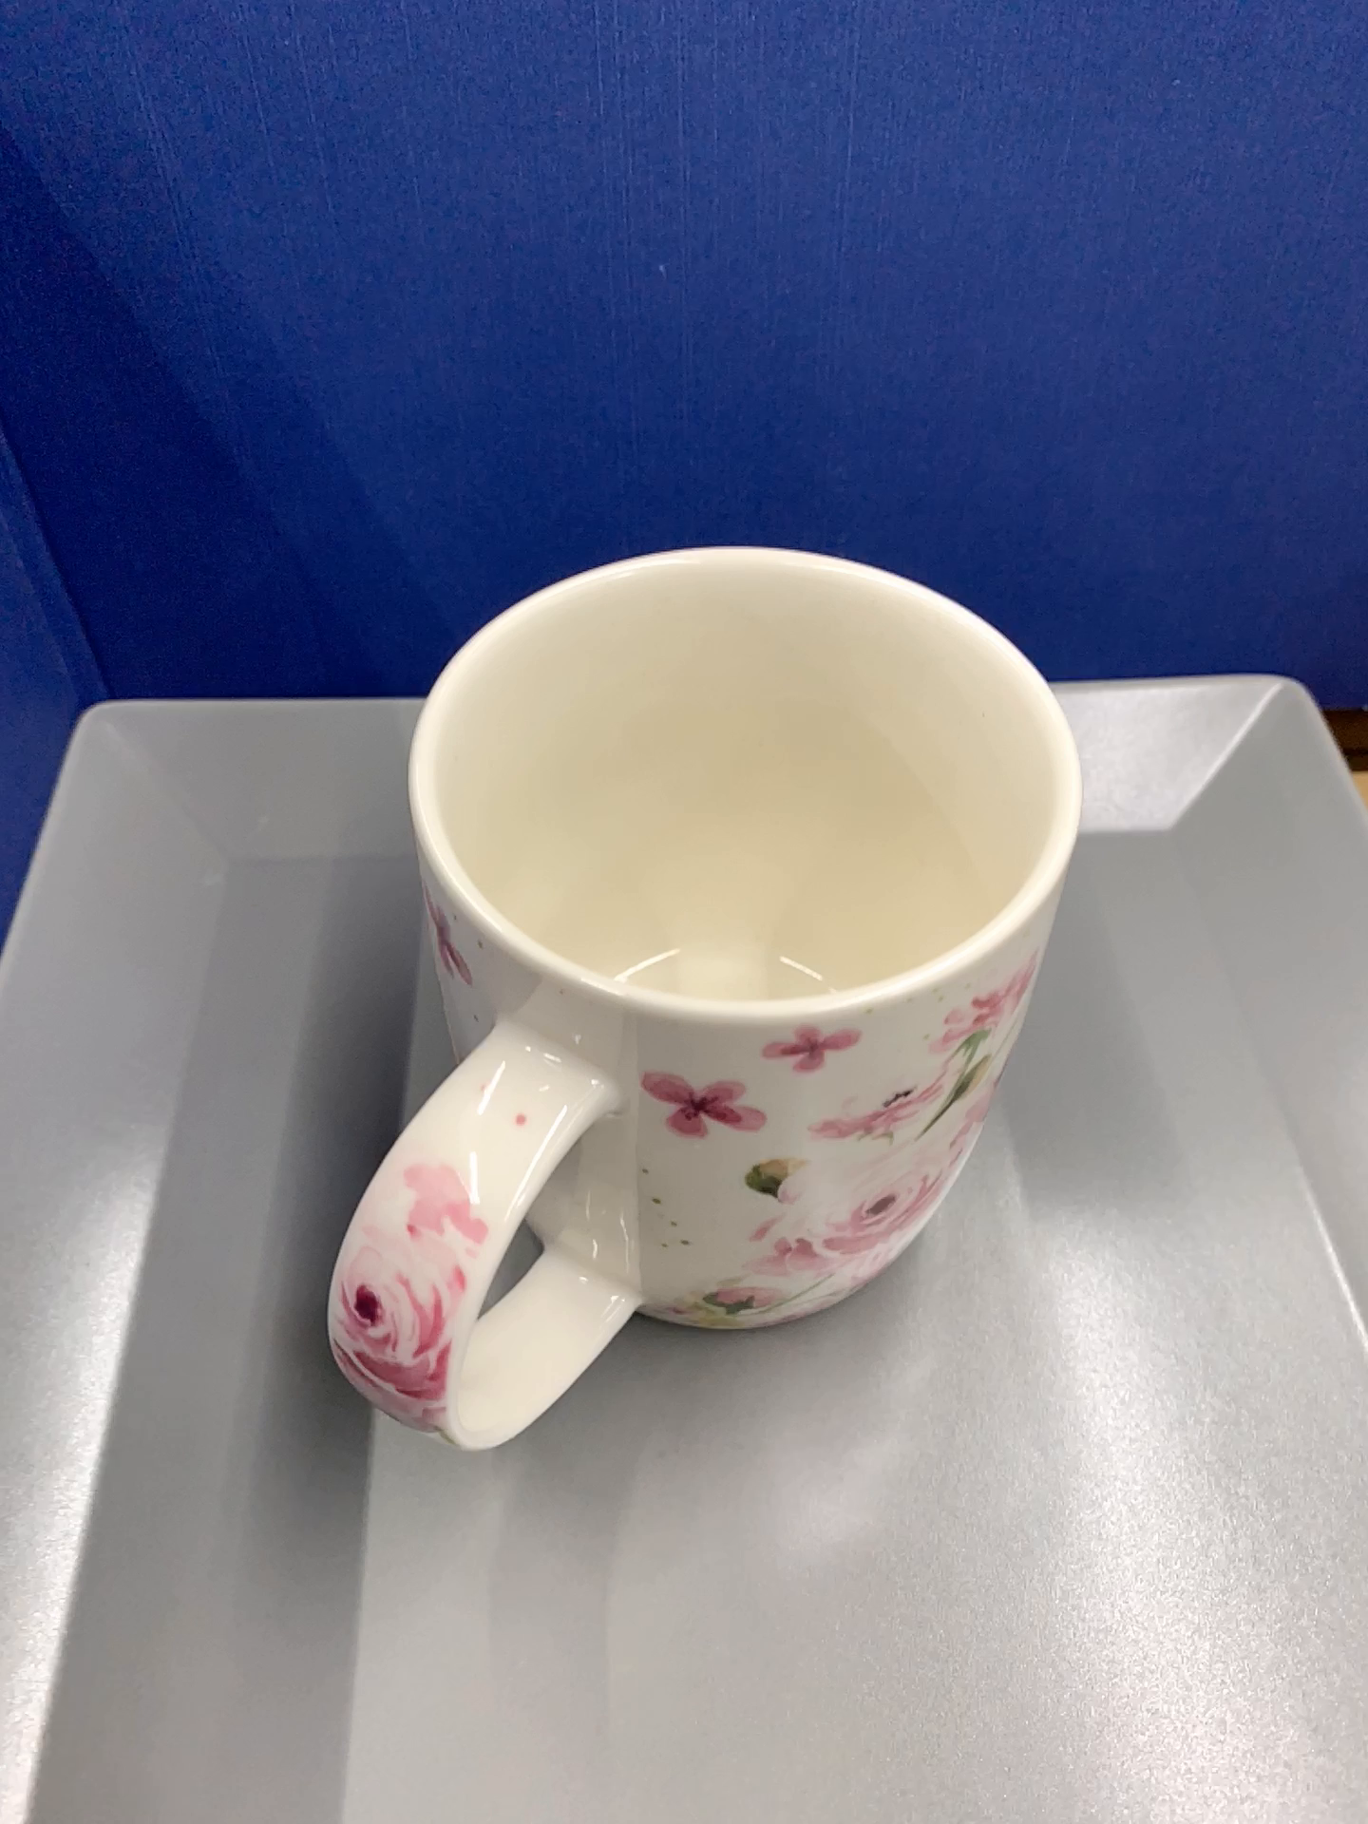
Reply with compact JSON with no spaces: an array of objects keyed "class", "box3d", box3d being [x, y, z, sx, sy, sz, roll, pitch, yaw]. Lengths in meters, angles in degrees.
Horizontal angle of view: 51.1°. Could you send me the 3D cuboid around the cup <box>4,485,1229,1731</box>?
[{"class":"cup","box3d":[-0.002,0.019,0.190,0.085,0.087,0.110,30,54,26]}]
